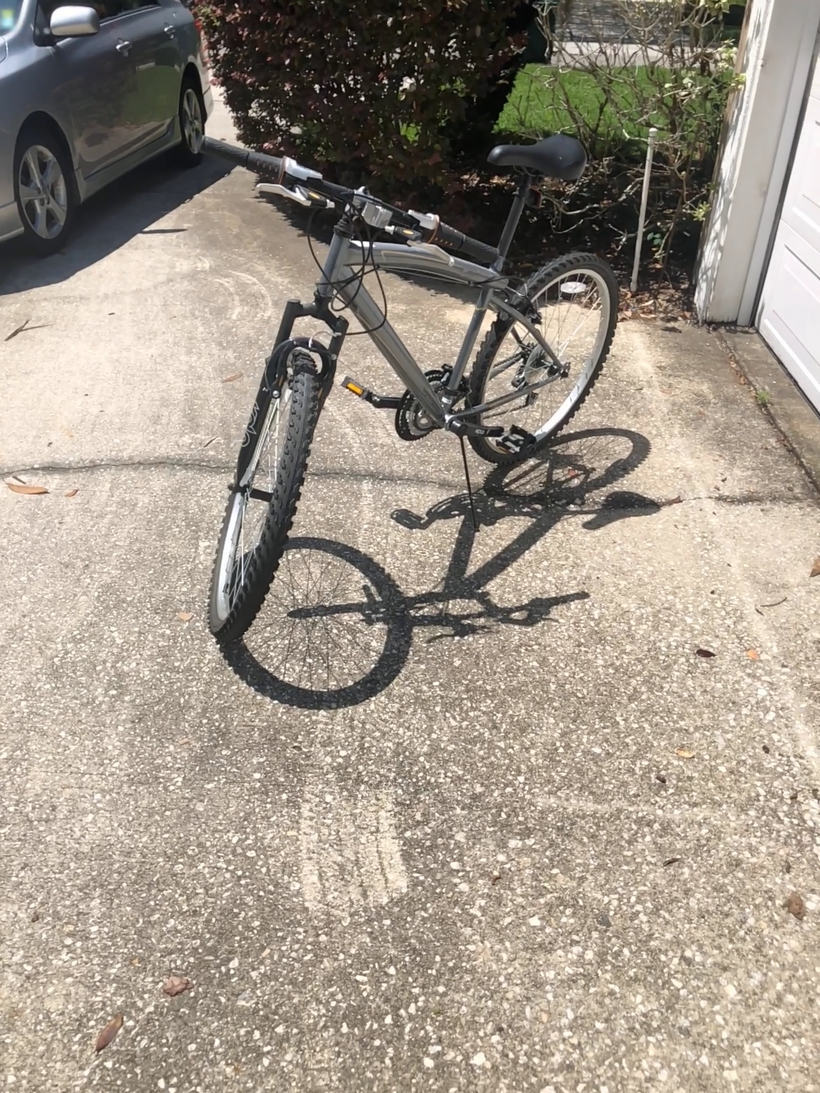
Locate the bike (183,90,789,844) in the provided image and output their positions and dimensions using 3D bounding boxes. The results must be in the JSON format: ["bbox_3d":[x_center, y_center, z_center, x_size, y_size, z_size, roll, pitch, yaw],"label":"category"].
[{"bbox_3d":[0.253,-0.385,2.126,0.681,0.980,1.536,21,40,28],"label":"bike"}]
